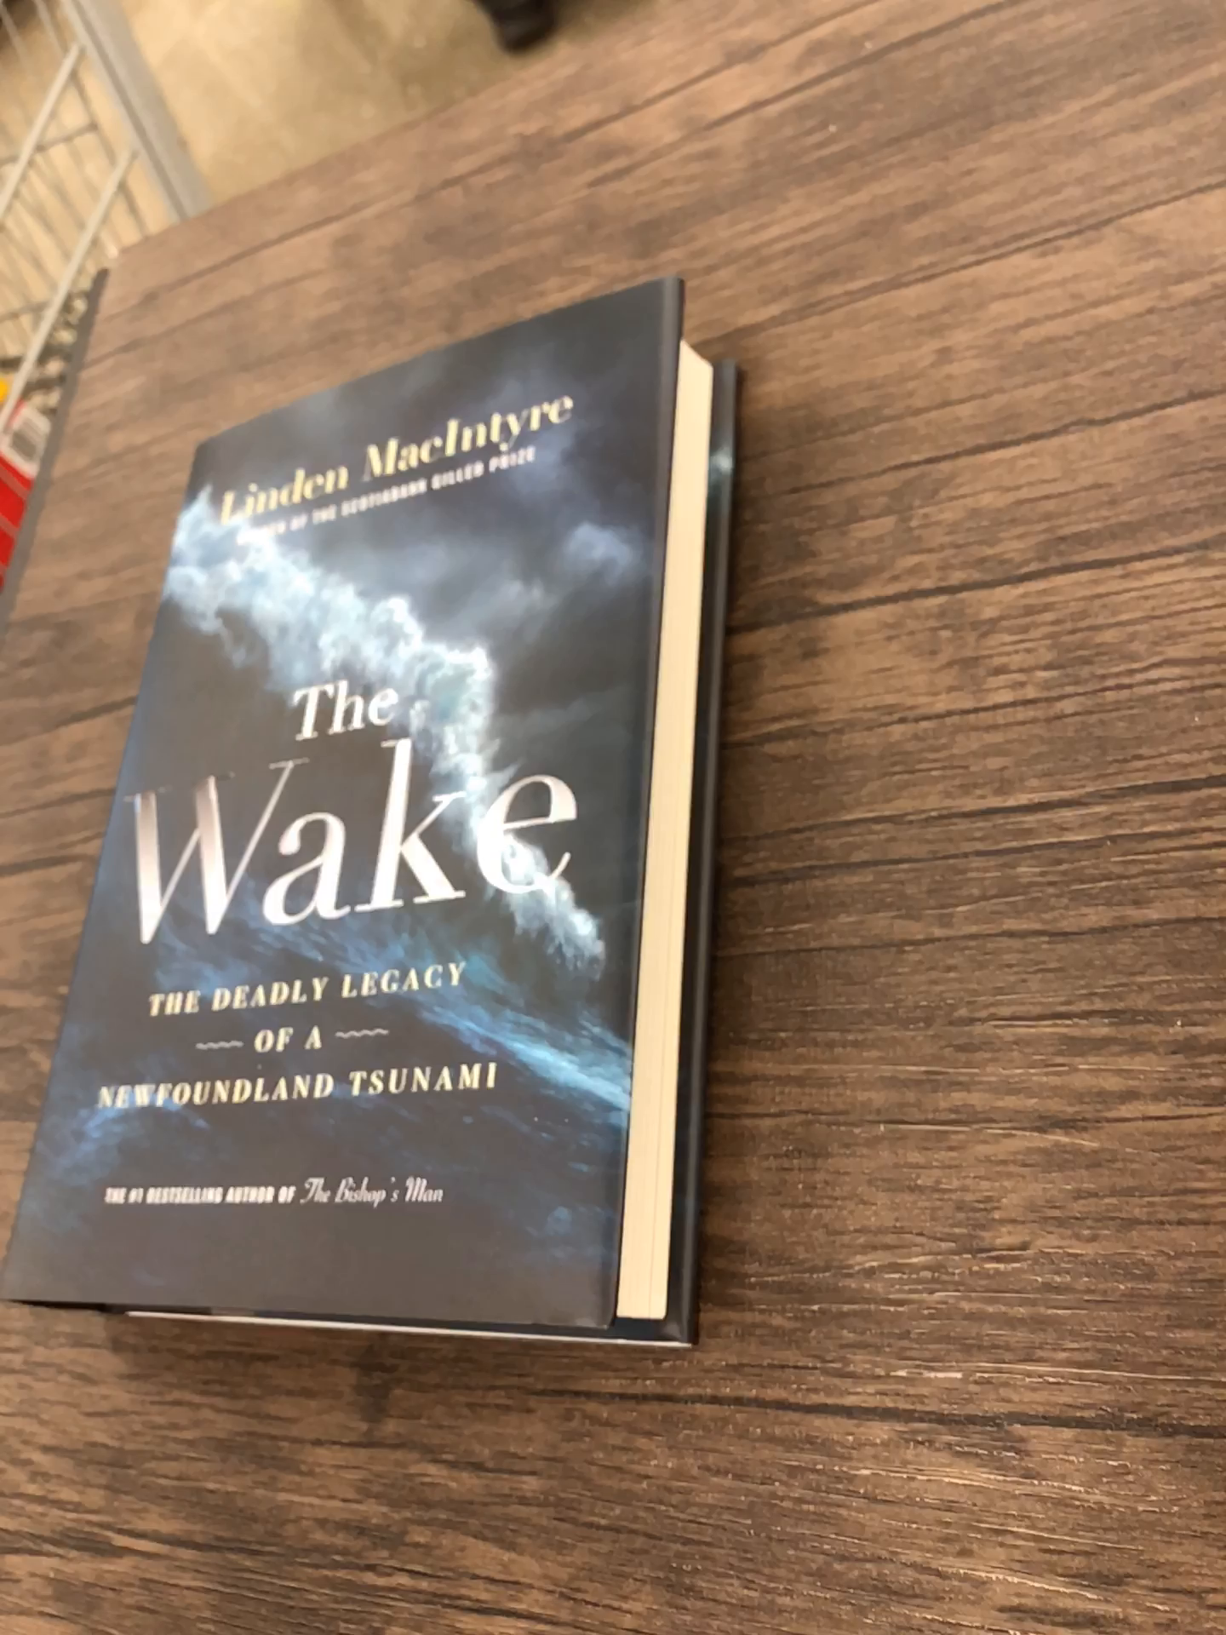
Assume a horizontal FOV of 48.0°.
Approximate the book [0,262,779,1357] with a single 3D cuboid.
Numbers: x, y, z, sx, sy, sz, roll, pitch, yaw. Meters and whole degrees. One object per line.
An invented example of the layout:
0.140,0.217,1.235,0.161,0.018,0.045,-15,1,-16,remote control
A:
-0.049,-0.002,0.326,0.160,0.050,0.230,-8,63,28,book
